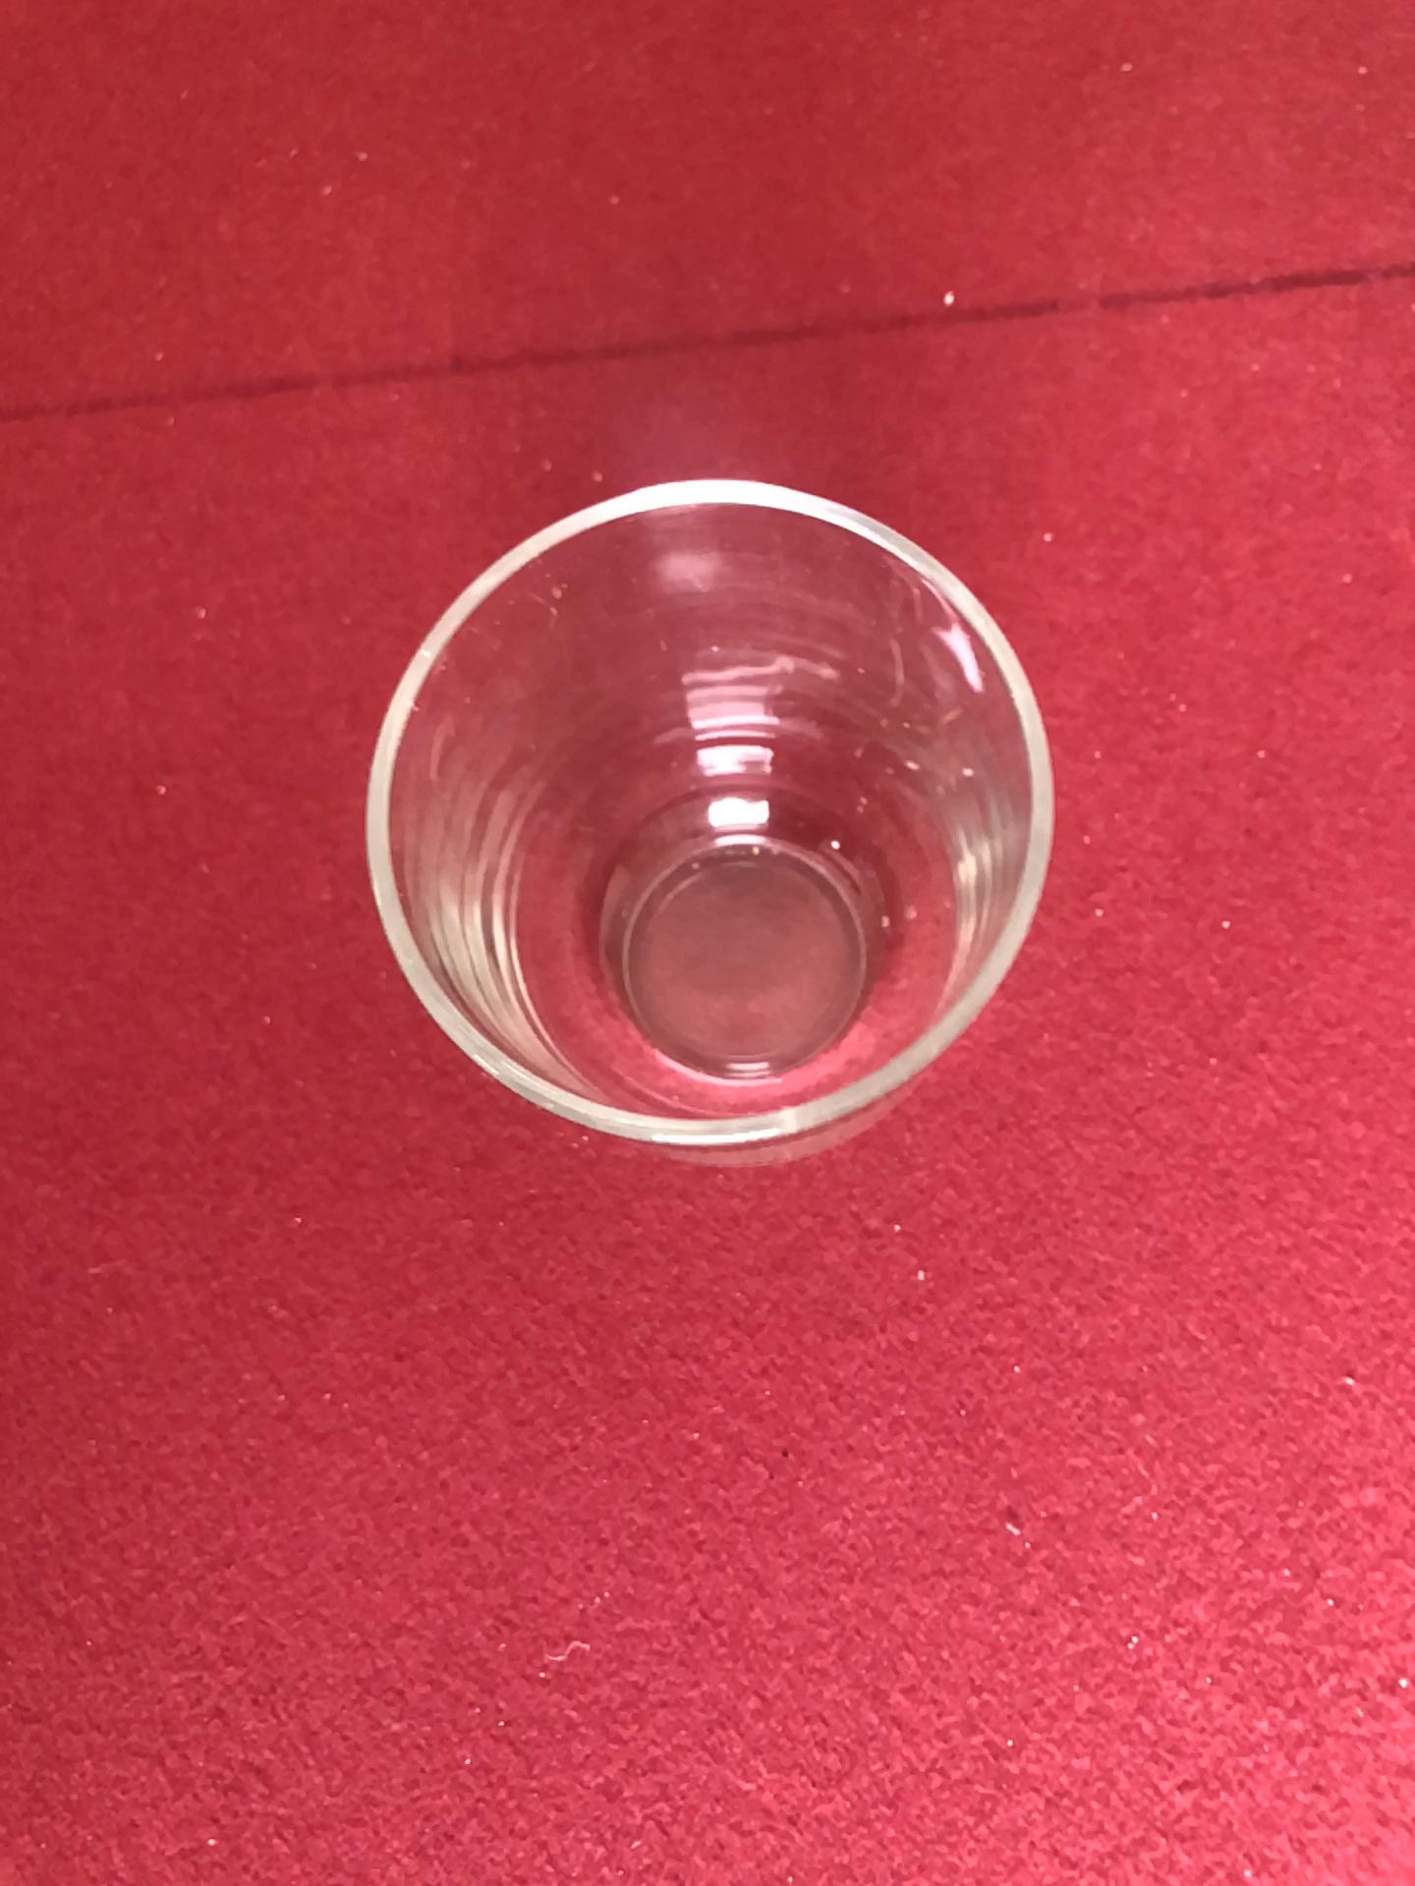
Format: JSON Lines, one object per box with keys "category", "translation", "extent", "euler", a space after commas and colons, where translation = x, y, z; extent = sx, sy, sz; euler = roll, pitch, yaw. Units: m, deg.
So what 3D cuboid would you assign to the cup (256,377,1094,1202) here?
{"category": "cup", "translation": [0.001, -0.013, 0.198], "extent": [0.080, 0.070, 0.080], "euler": [-1, 77, 4]}
